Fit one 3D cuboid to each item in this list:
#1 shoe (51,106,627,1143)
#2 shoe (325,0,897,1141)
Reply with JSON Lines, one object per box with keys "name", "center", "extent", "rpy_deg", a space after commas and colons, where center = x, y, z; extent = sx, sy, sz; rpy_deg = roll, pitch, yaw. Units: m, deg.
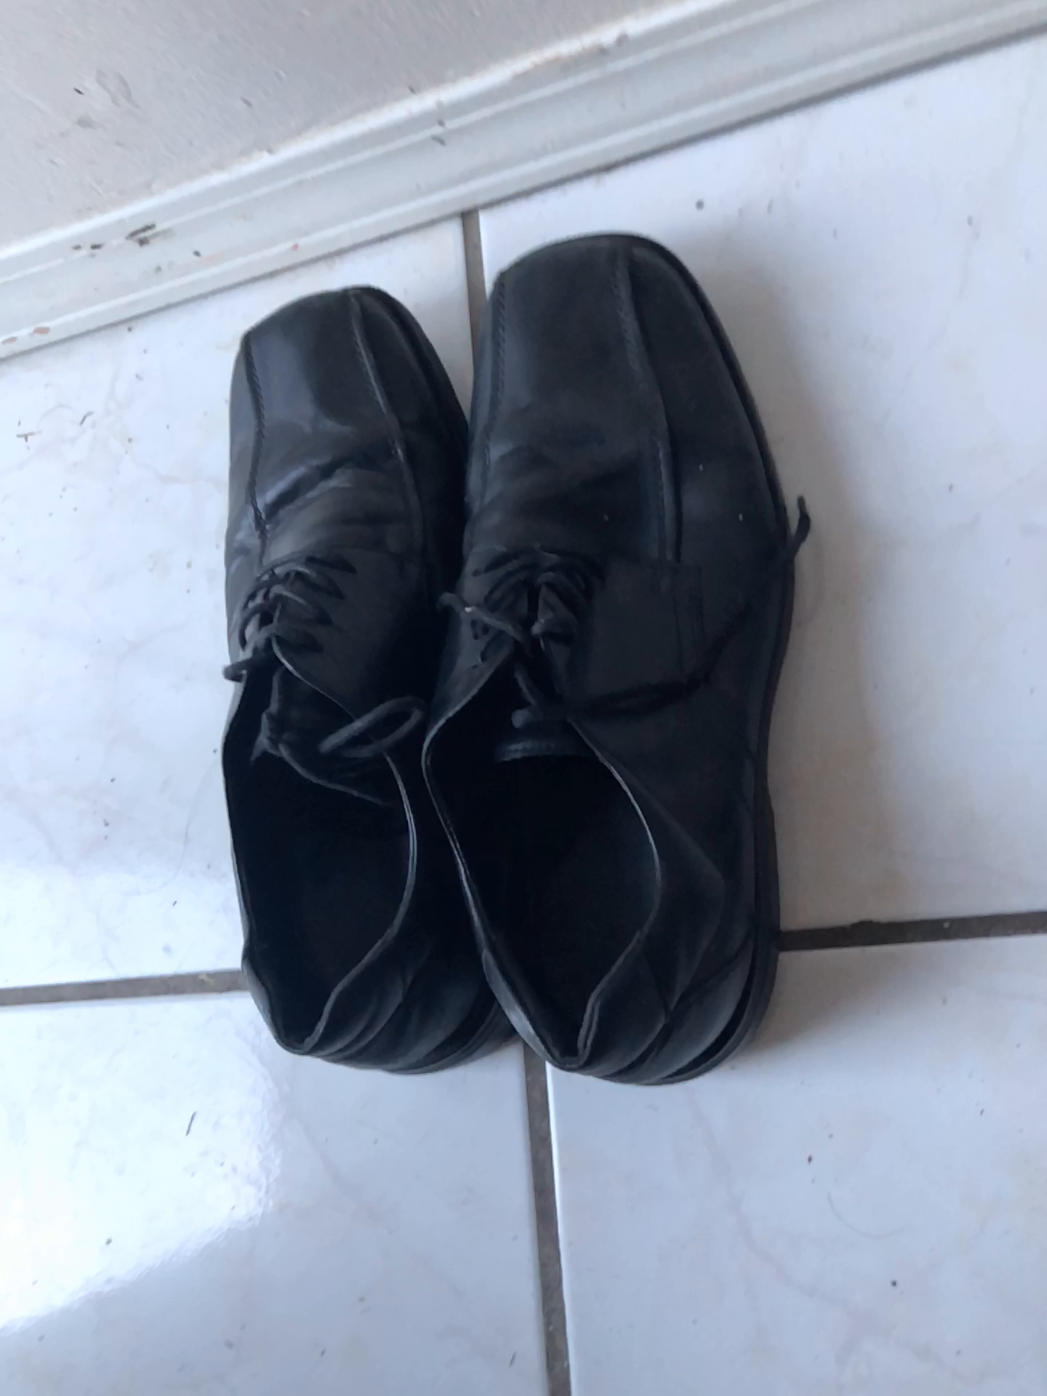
{"name": "shoe", "center": [-0.063, -0.020, 0.386], "extent": [0.120, 0.100, 0.290], "rpy_deg": [-14, 77, 19]}
{"name": "shoe", "center": [0.026, -0.033, 0.343], "extent": [0.110, 0.100, 0.290], "rpy_deg": [-11, 78, 20]}
